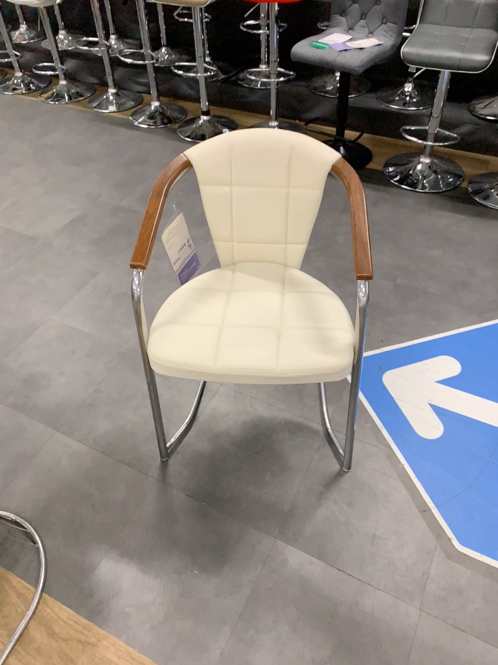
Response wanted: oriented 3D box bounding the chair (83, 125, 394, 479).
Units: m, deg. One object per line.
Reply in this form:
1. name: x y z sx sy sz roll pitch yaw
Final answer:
1. chair: 0.009 -0.070 1.482 0.600 0.816 0.603 2 45 4
